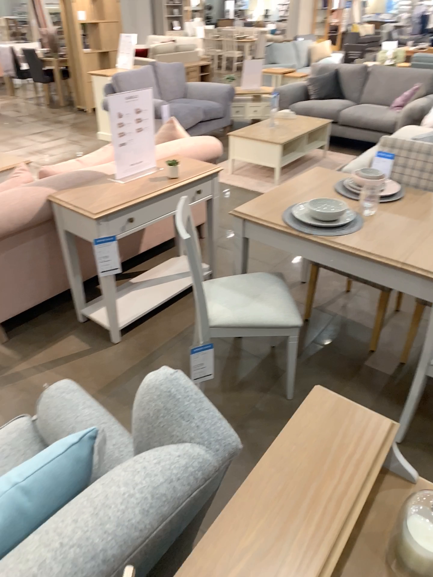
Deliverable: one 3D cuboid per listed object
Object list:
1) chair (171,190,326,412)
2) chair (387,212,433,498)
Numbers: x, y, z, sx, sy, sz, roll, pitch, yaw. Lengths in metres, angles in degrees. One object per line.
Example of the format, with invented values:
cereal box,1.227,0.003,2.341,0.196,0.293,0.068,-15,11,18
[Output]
chair,0.092,0.055,1.913,0.534,0.817,0.465,-3,32,-5
chair,1.035,0.228,1.671,0.432,0.817,0.538,21,38,30
